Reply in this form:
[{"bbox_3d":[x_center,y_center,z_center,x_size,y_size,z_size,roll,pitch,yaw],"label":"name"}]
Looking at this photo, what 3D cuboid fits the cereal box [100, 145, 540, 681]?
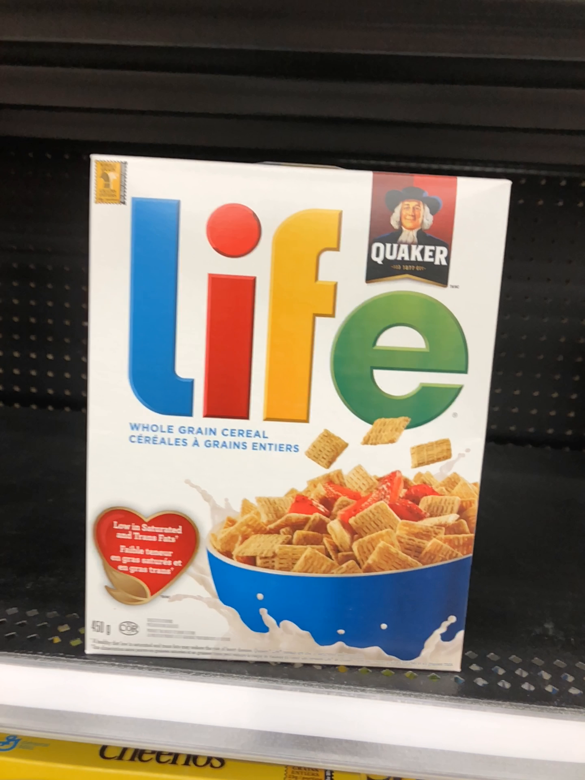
[{"bbox_3d":[0.006,0.016,0.350,0.200,0.259,0.060,3,10,-1],"label":"cereal box"}]
